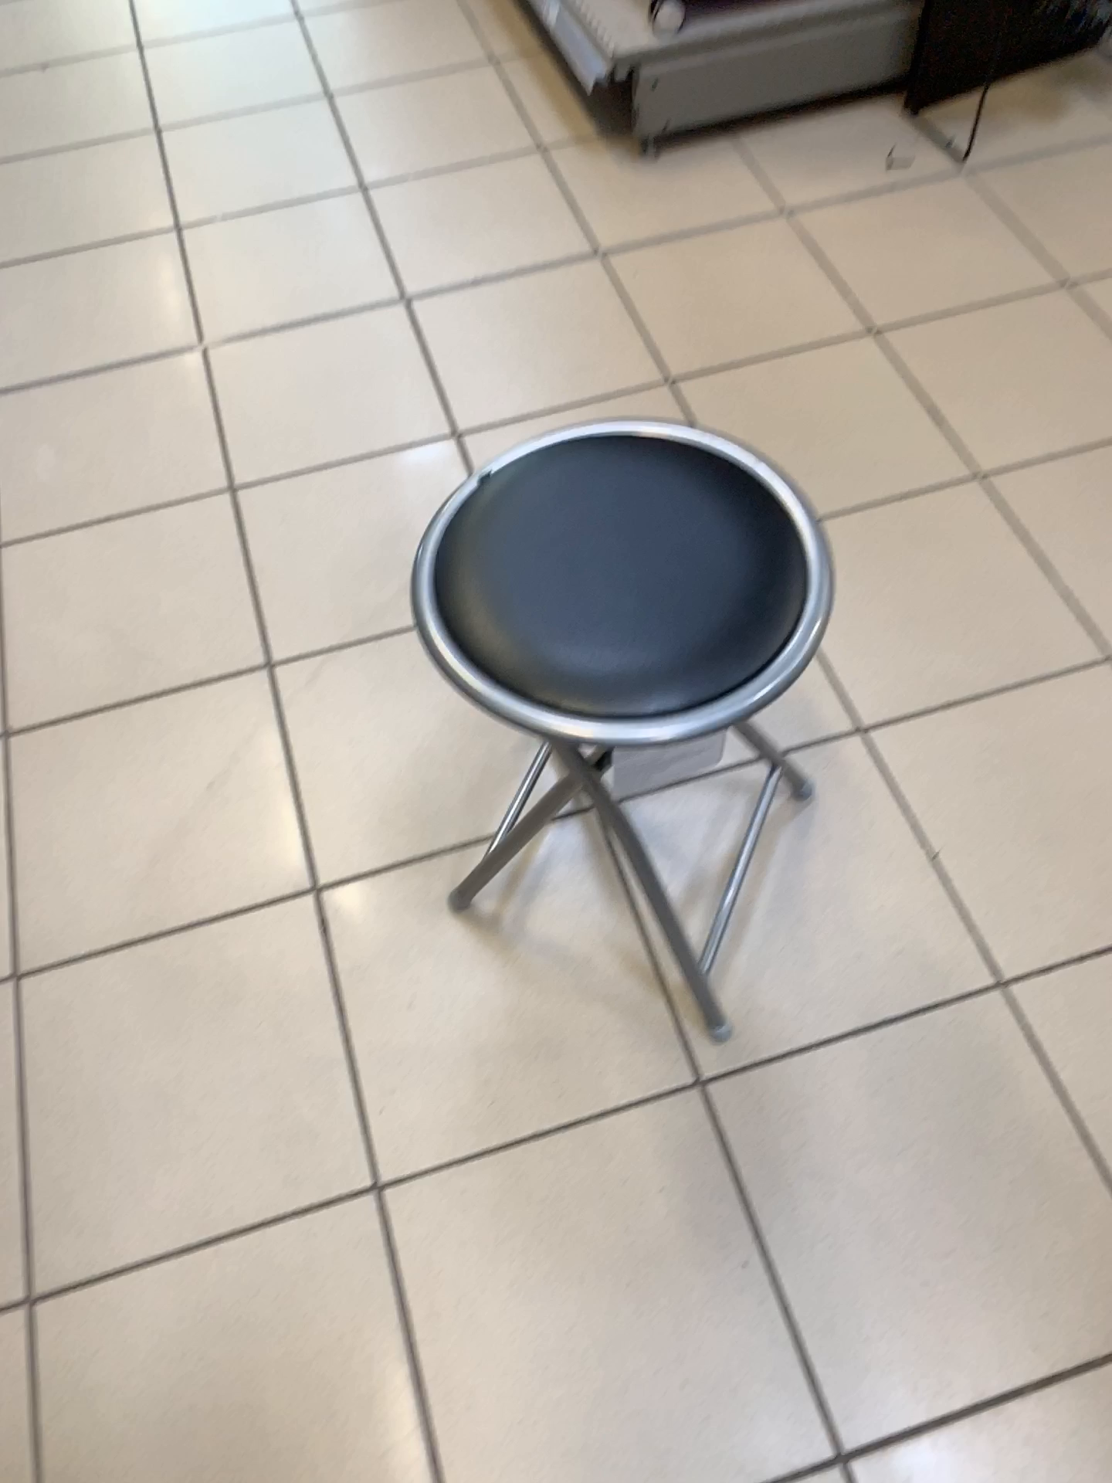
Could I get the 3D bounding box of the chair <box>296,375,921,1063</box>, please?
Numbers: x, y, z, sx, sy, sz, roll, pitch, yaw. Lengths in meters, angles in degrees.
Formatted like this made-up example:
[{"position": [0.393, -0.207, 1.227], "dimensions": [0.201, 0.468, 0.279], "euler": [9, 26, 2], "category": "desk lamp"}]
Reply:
[{"position": [0.057, -0.006, 0.960], "dimensions": [0.335, 0.402, 0.328], "euler": [19, 60, 15], "category": "chair"}]
